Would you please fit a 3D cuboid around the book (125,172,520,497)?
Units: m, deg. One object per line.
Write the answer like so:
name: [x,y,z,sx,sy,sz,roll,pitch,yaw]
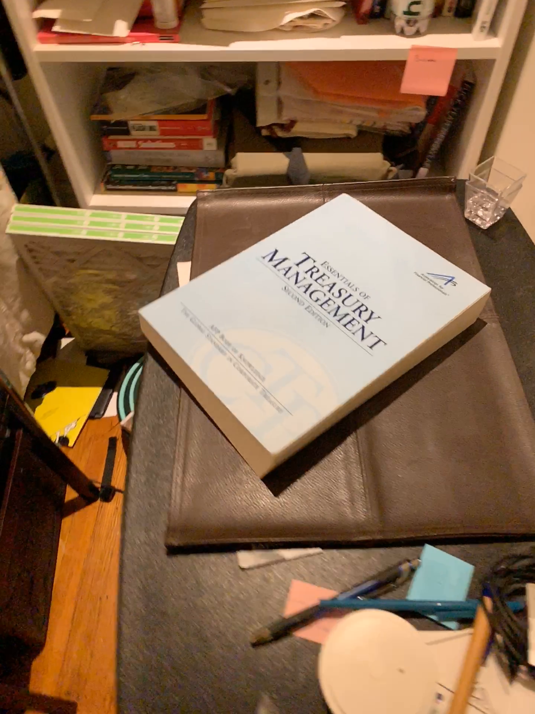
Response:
book: [0.052,-0.046,0.540,0.300,0.060,0.221,-33,59,-20]
